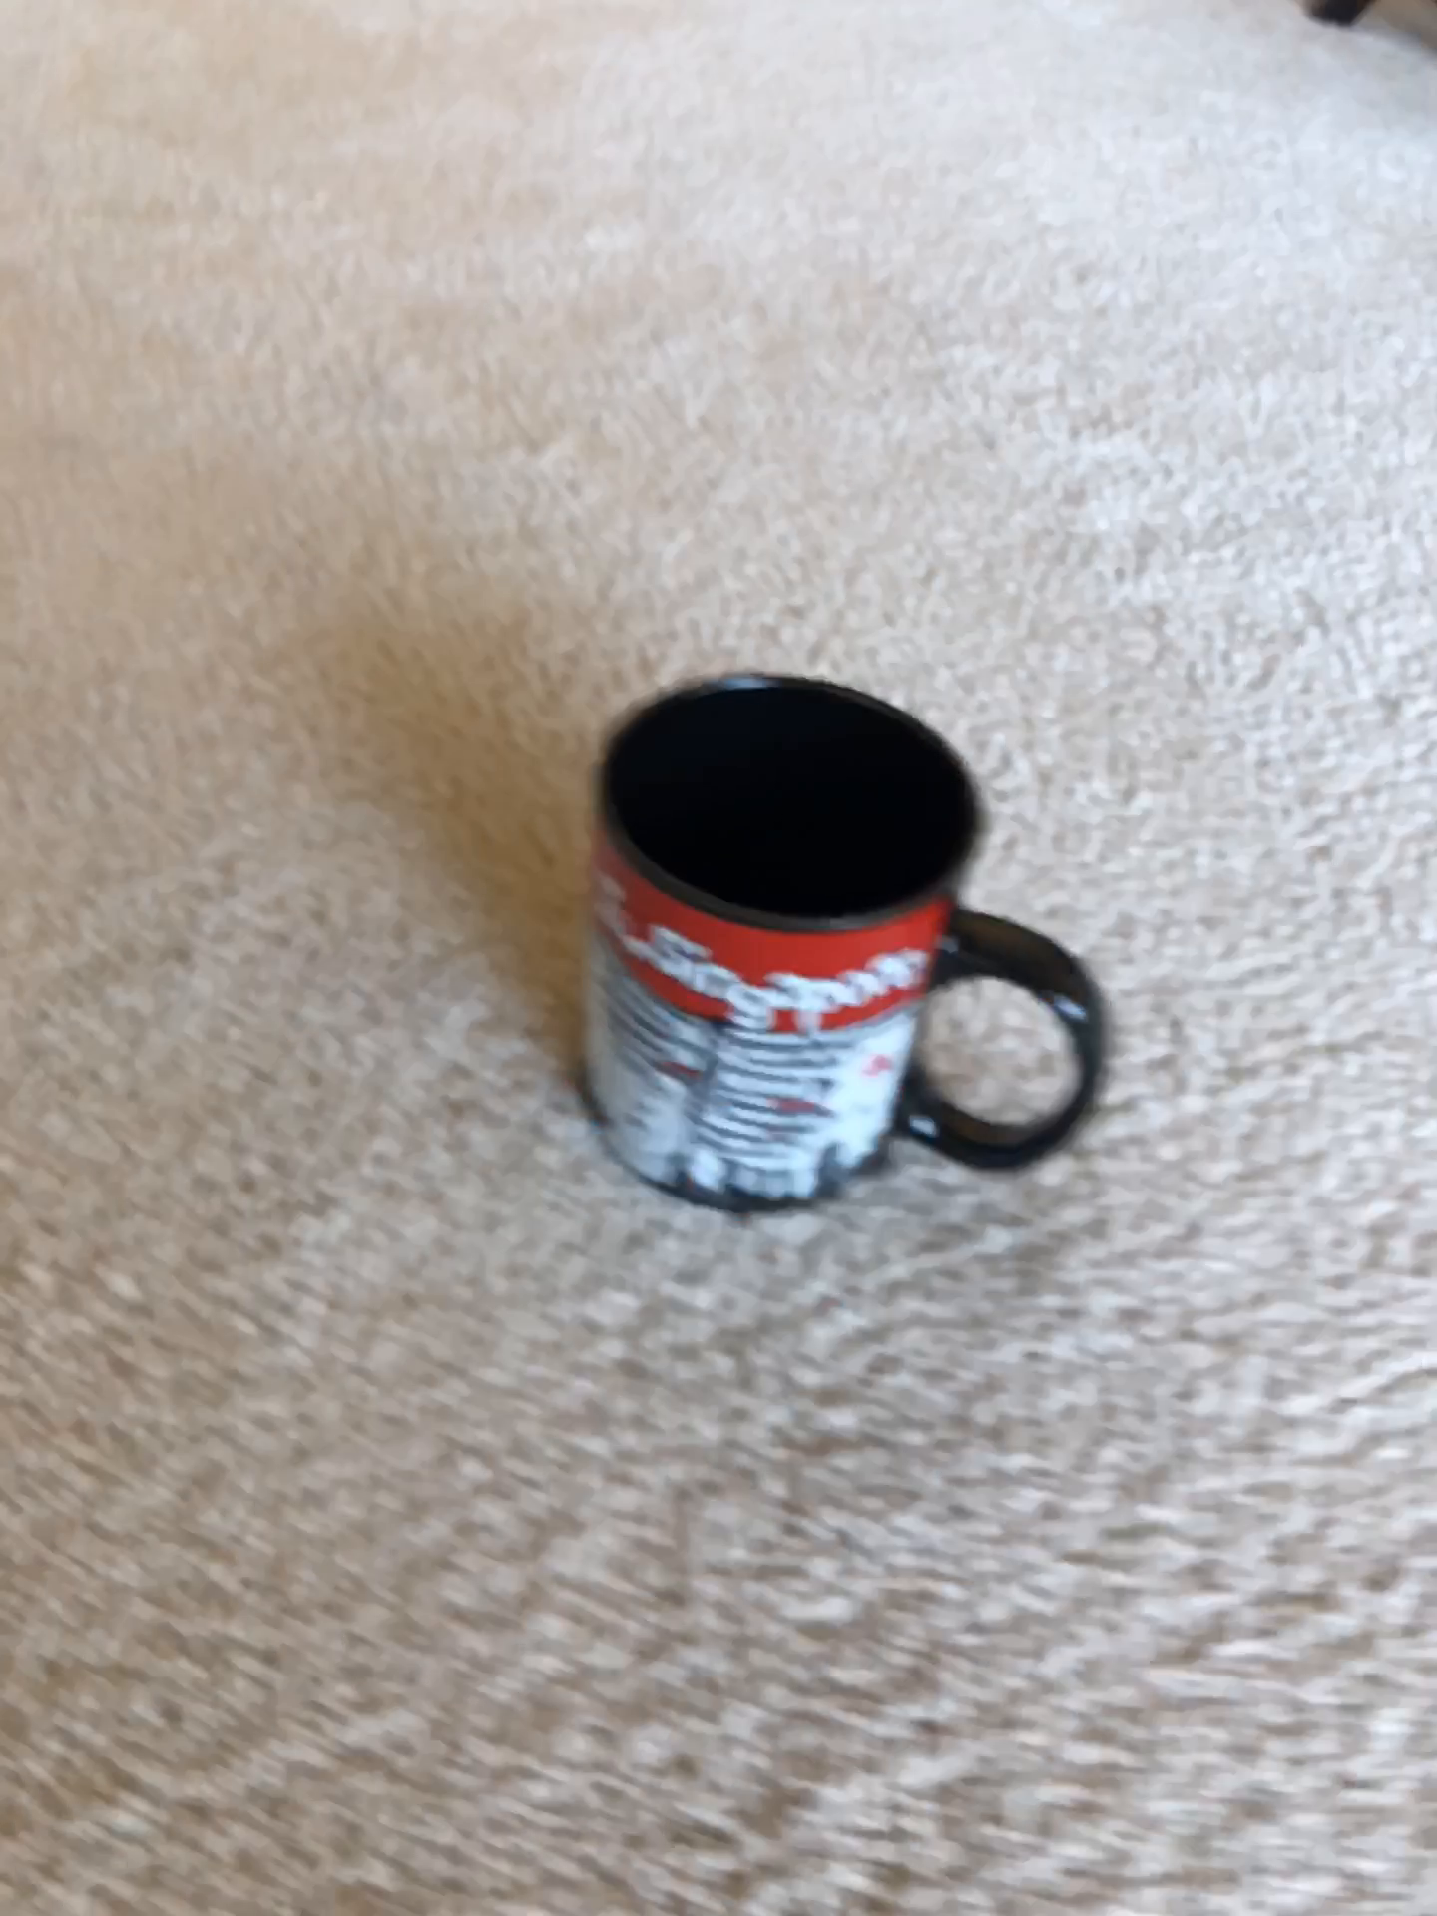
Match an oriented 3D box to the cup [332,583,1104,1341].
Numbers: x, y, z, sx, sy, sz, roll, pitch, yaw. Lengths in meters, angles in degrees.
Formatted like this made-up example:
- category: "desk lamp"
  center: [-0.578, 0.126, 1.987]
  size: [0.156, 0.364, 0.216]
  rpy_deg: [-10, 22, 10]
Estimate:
- category: "cup"
  center: [-0.002, -0.004, 0.361]
  size: [0.130, 0.090, 0.090]
  rpy_deg: [26, 47, 19]
